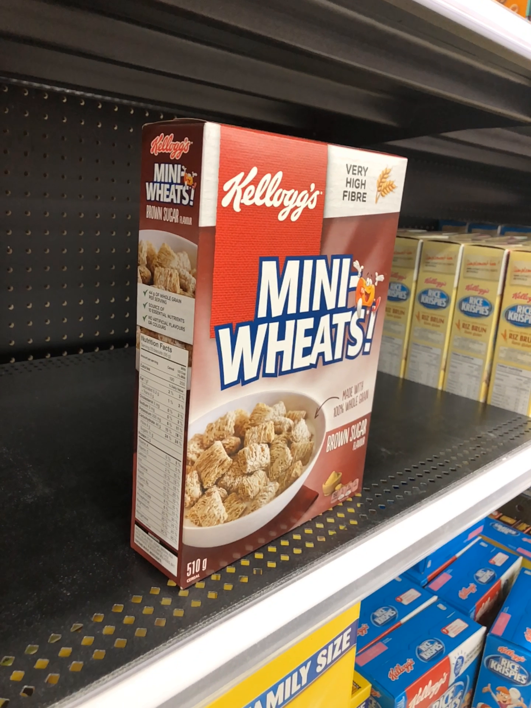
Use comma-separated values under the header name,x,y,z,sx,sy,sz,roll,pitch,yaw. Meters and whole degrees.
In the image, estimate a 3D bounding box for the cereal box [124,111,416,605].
name,x,y,z,sx,sy,sz,roll,pitch,yaw
cereal box,0.007,-0.004,0.410,0.060,0.279,0.201,18,20,41
